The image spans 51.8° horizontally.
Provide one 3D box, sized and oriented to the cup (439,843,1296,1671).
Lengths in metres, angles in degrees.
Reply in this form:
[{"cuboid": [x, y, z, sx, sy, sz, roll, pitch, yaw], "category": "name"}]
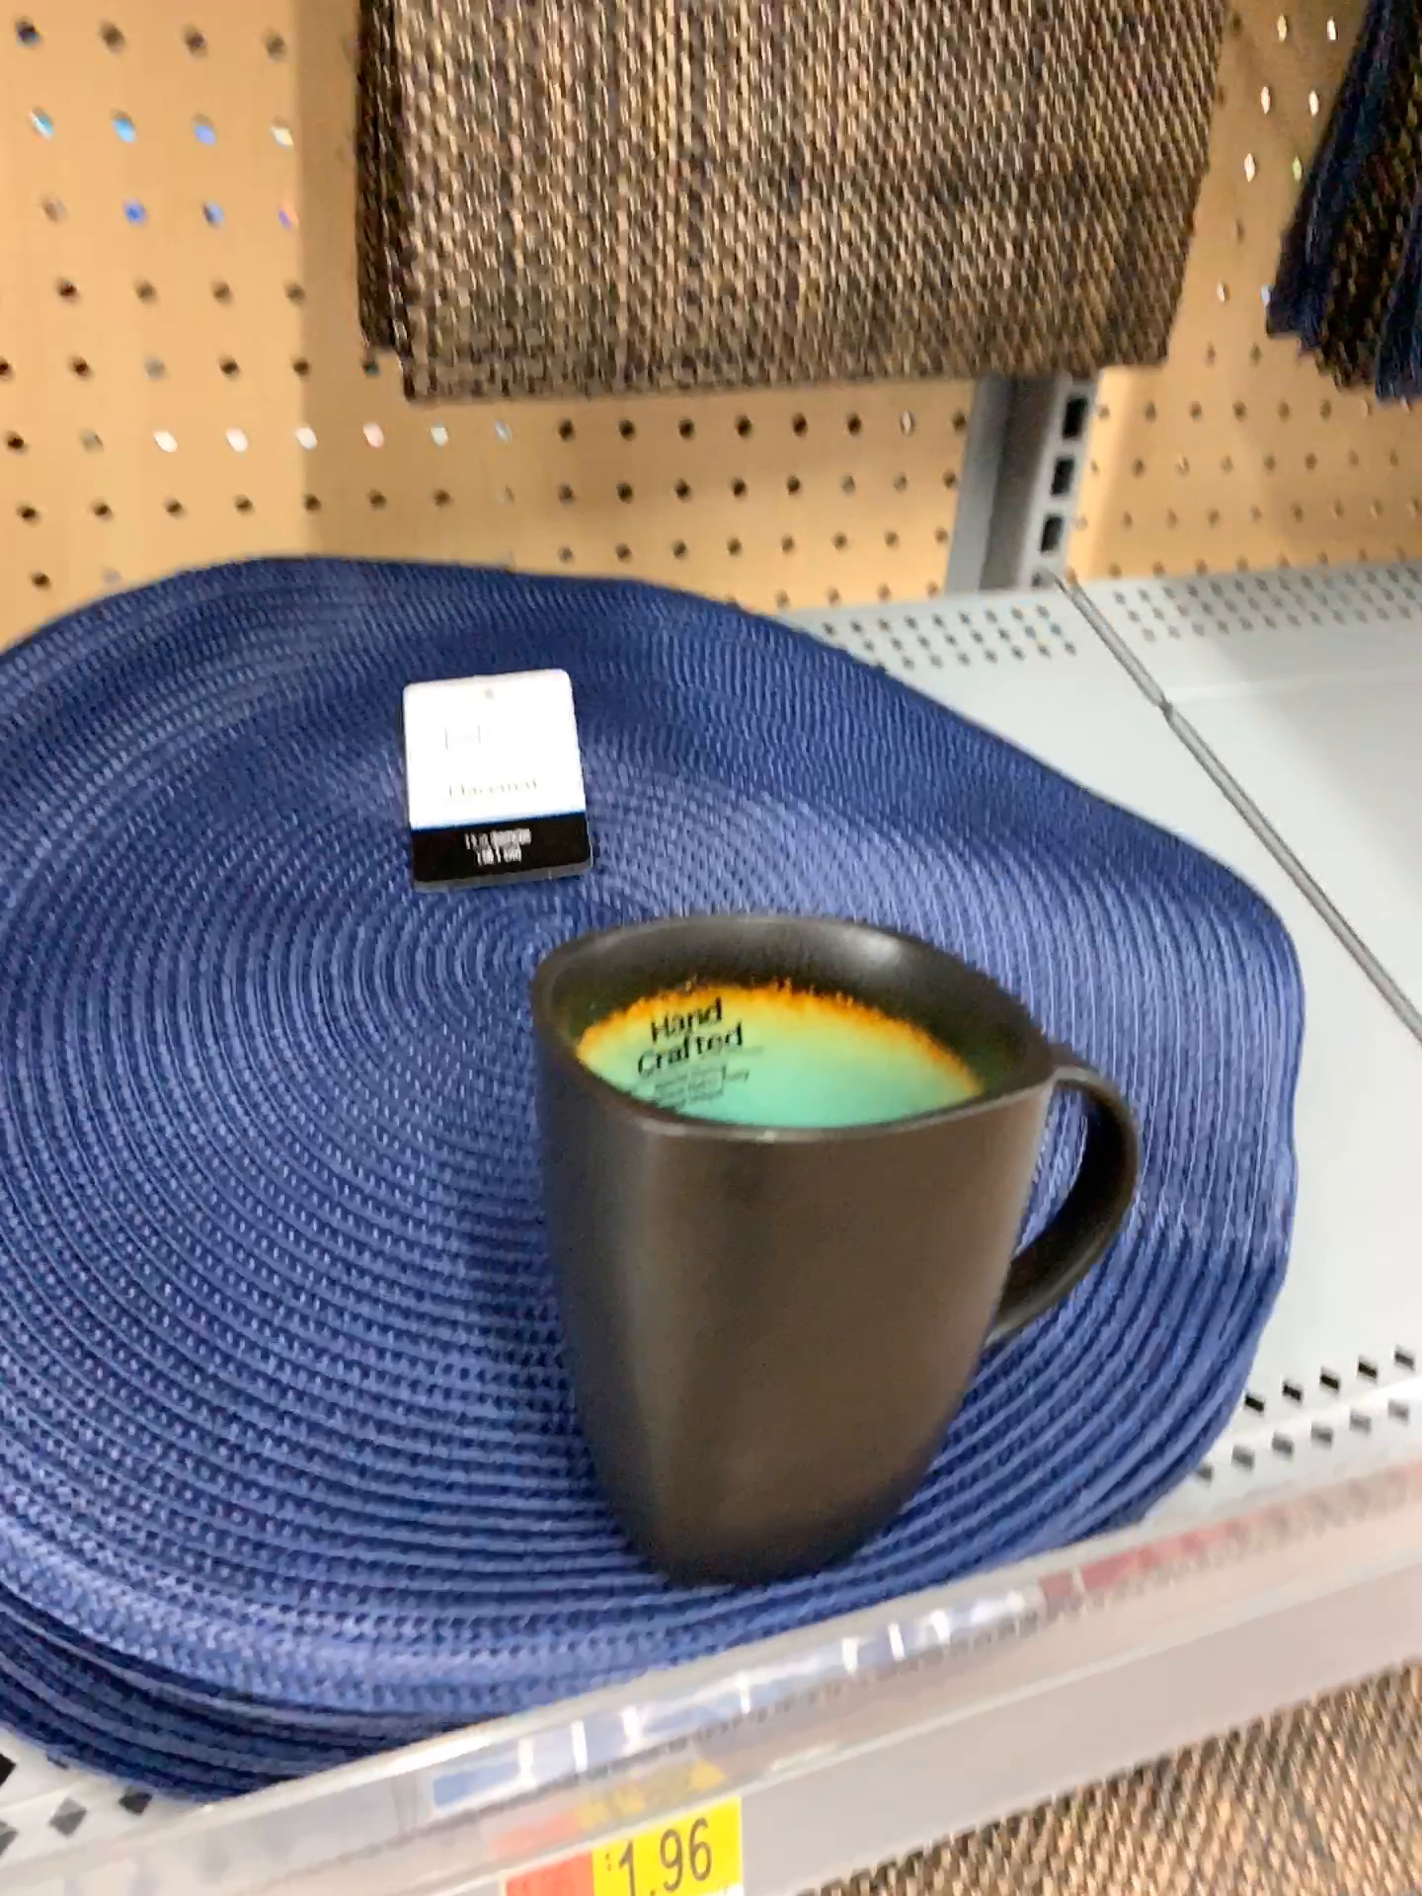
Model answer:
[{"cuboid": [0.019, 0.052, 0.287, 0.130, 0.110, 0.090, -5, 28, -14], "category": "cup"}]
